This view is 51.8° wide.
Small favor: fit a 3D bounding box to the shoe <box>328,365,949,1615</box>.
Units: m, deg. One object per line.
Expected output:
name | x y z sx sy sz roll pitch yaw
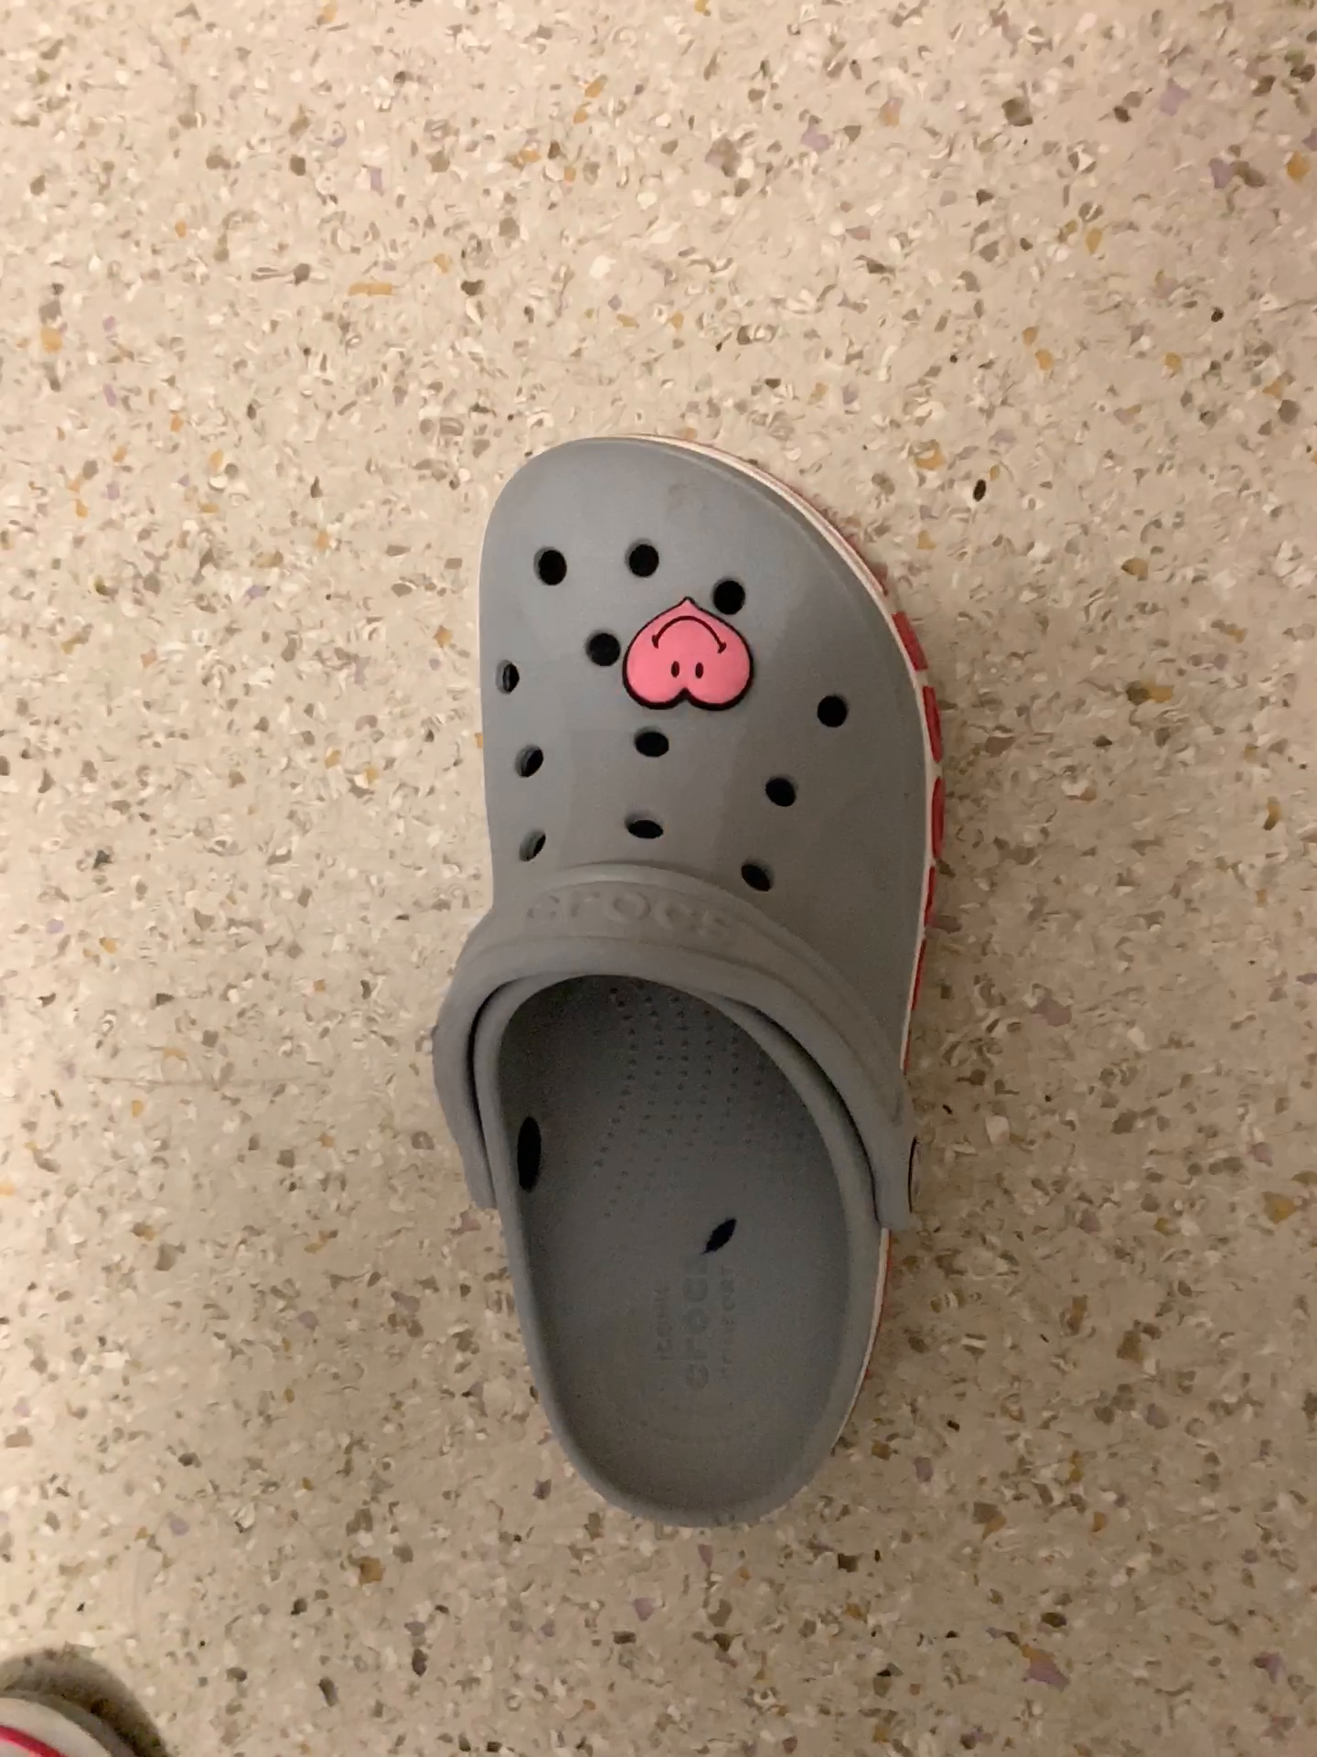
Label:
shoe | 0.002 0.022 0.301 0.109 0.091 0.226 -3 89 12
